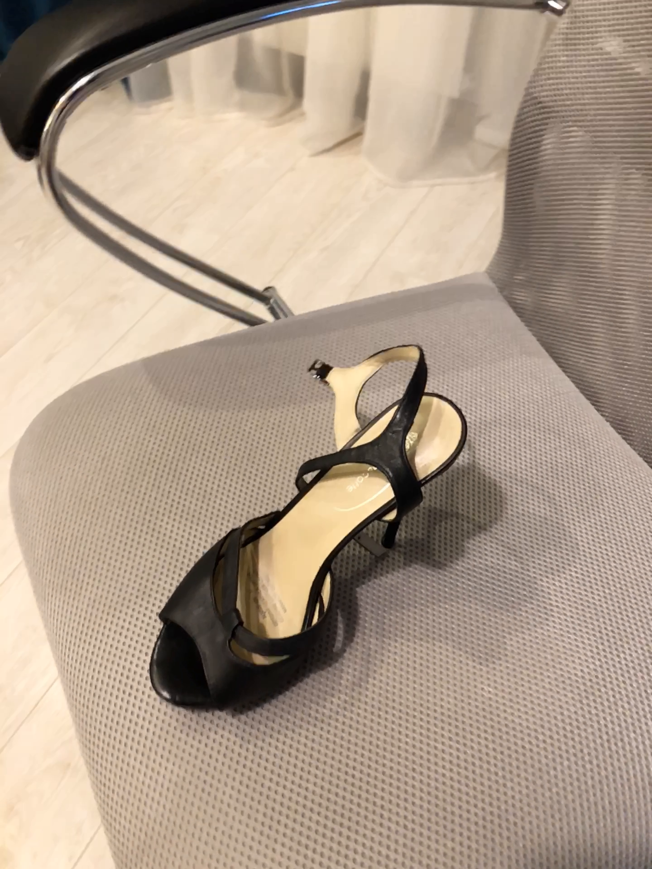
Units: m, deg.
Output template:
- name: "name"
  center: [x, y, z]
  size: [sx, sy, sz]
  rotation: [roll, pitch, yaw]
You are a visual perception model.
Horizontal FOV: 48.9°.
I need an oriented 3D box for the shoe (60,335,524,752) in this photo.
- name: "shoe"
  center: [-0.012, 0.056, 0.395]
  size: [0.211, 0.119, 0.090]
  rotation: [-28, 58, -21]
